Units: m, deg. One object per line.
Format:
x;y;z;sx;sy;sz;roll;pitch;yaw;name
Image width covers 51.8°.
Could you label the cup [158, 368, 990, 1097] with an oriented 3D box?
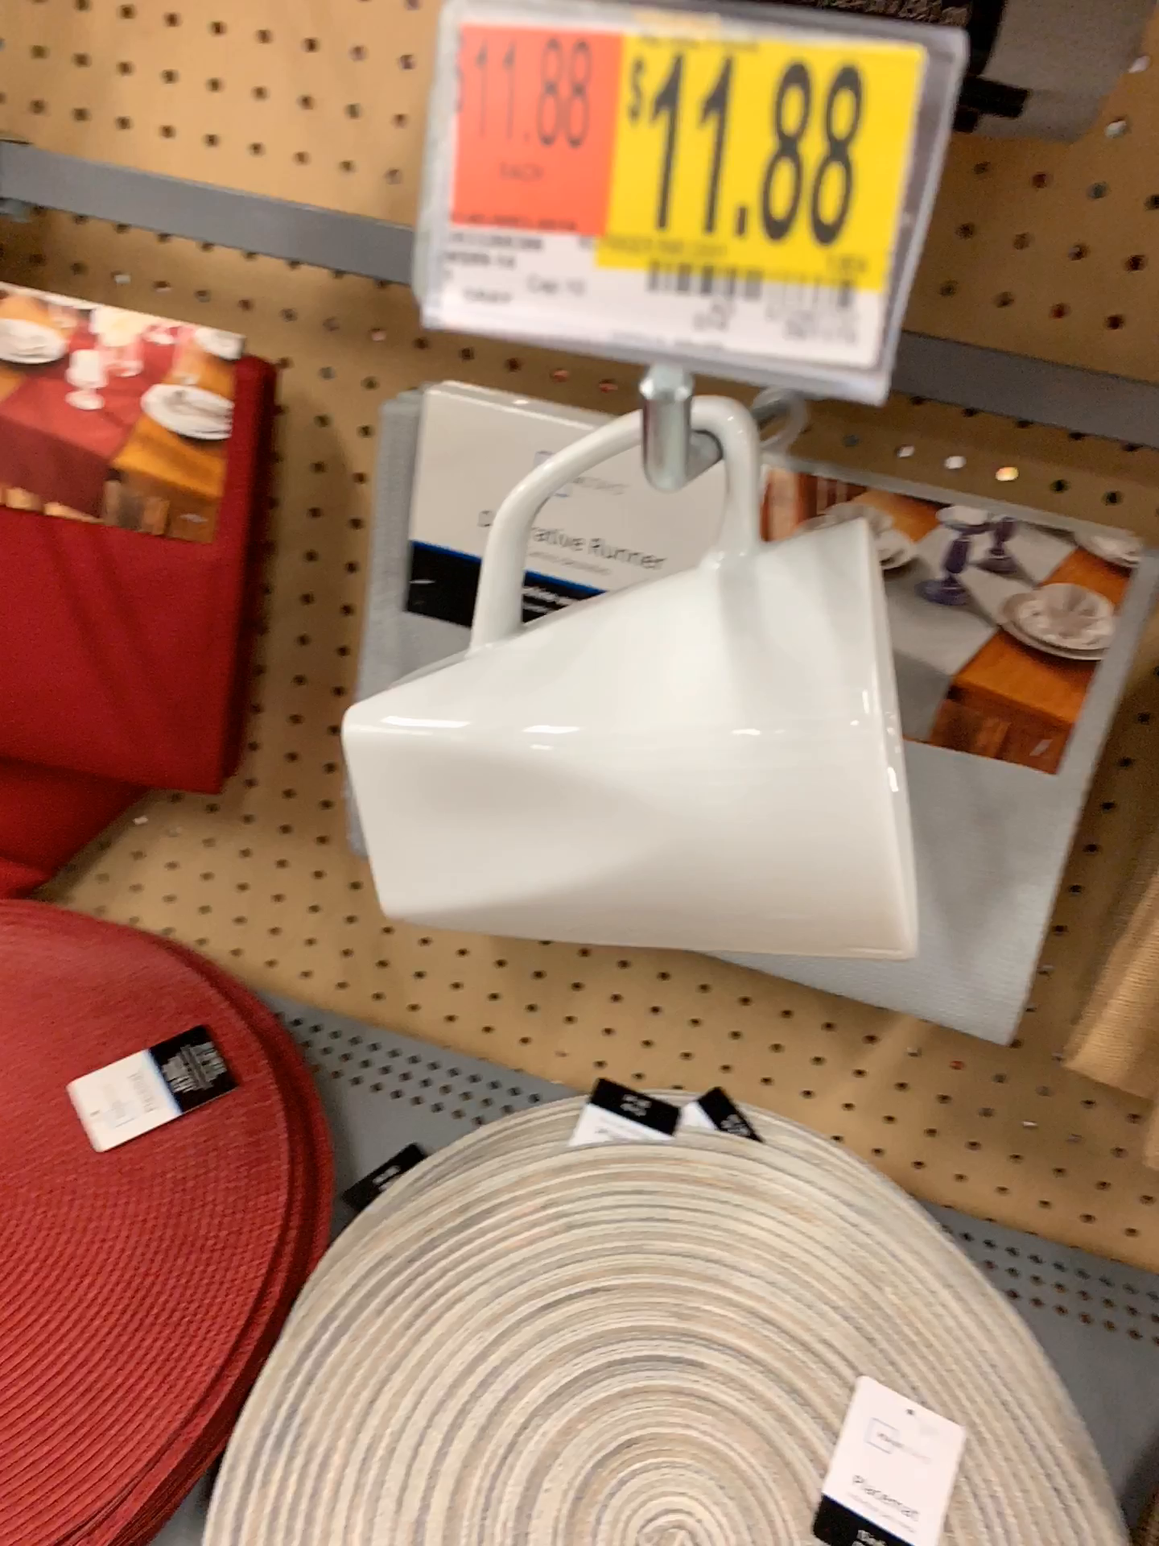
0.008;-0.017;0.254;0.140;0.119;0.090;3;22;16;cup
